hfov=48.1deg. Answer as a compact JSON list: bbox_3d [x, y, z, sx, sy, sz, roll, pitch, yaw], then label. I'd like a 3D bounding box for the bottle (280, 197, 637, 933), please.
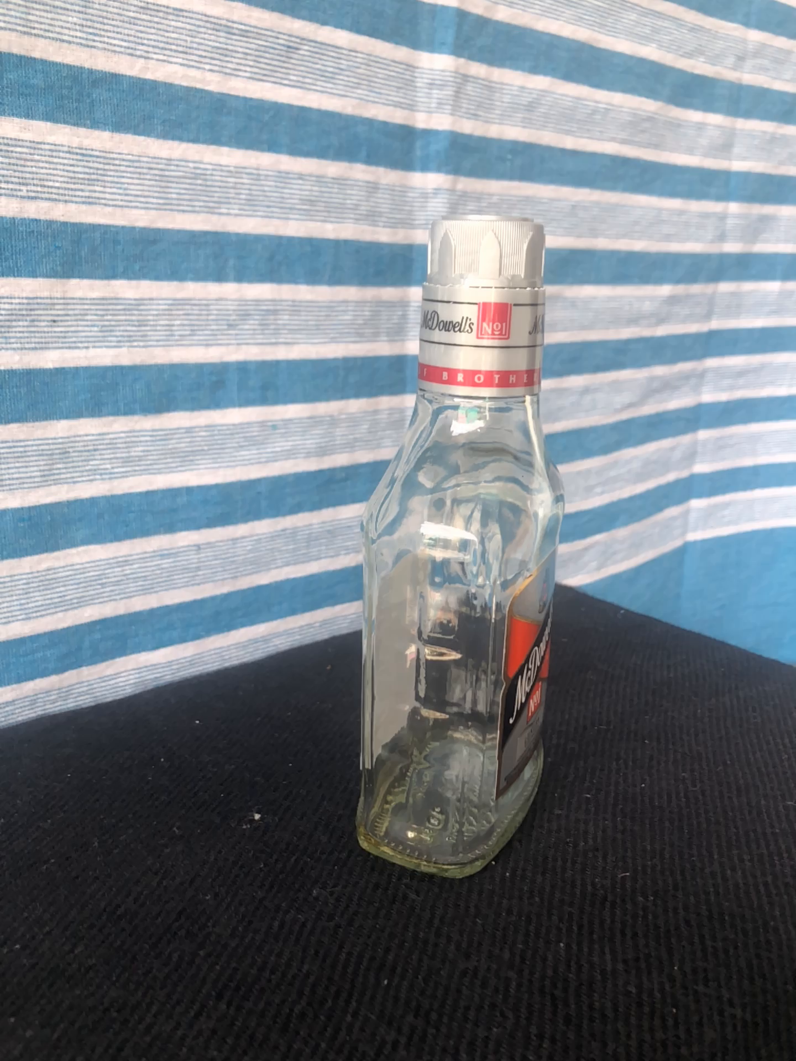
[{"bbox_3d":[0.015,0.004,0.215,0.050,0.149,0.070,11,17,21],"label":"bottle"}]
